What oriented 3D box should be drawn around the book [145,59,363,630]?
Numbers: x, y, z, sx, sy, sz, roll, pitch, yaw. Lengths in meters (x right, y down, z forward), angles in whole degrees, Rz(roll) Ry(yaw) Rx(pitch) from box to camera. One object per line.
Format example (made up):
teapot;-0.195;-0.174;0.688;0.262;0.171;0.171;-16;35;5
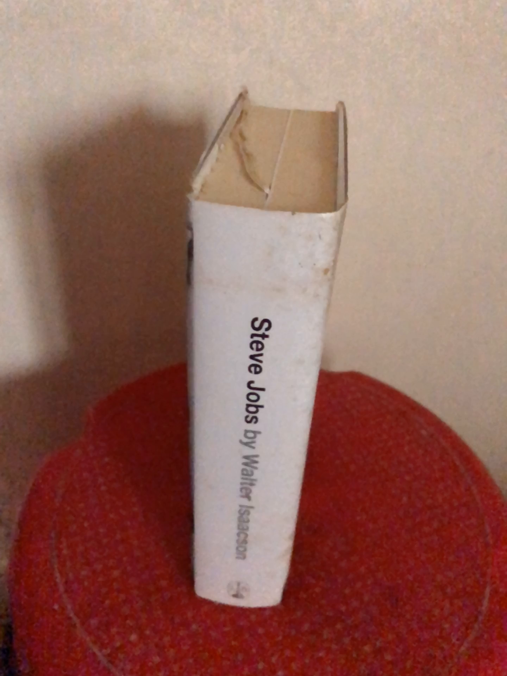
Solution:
book;0.004;0.000;0.292;0.060;0.229;0.171;6;35;4
